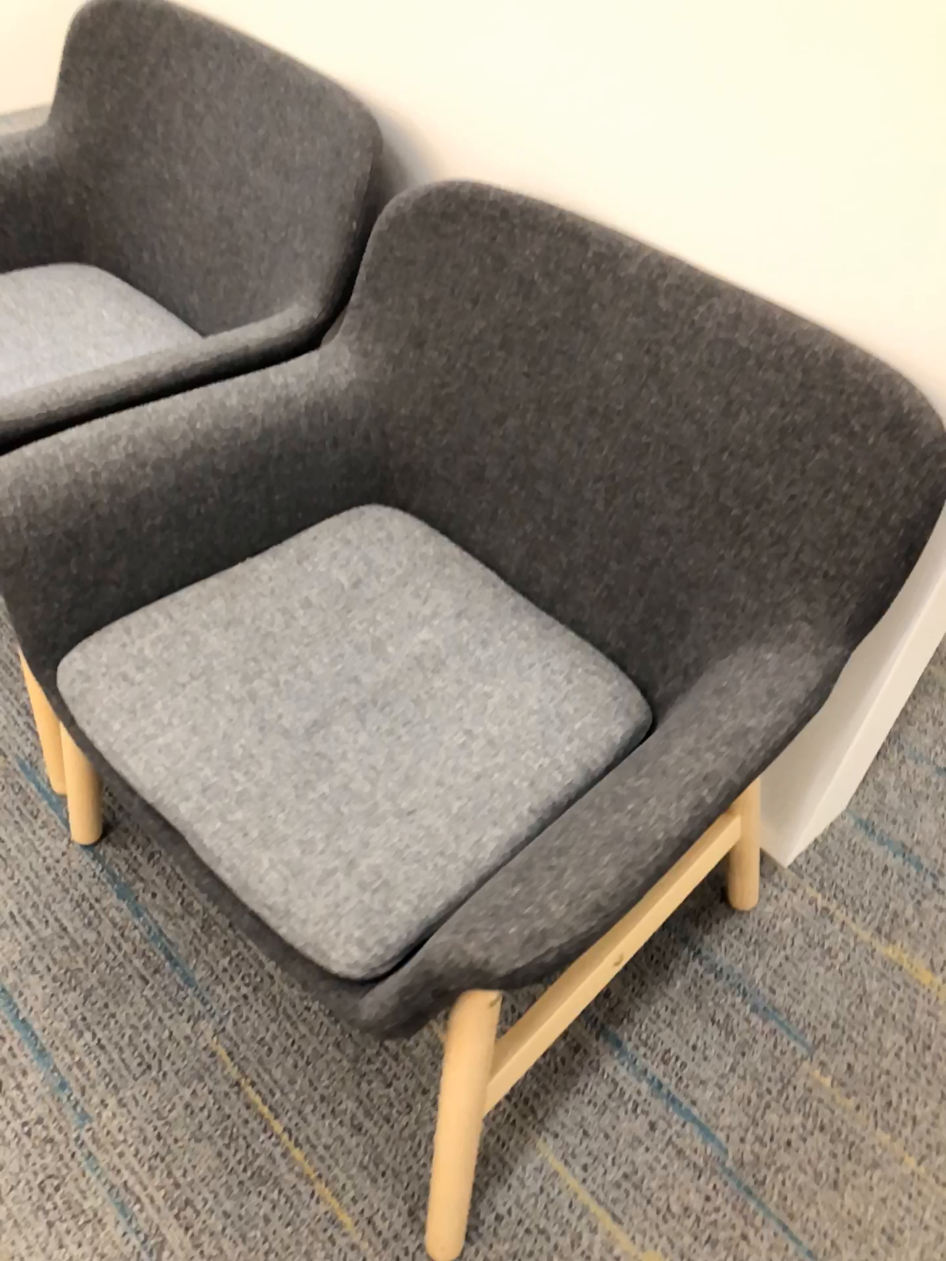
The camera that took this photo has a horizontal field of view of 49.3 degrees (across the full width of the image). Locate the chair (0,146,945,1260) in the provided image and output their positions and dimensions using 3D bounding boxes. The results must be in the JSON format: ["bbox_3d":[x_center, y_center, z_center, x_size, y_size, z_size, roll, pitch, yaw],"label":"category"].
[{"bbox_3d":[0.004,0.080,1.184,0.732,0.834,0.743,-31,56,-29],"label":"chair"}]
